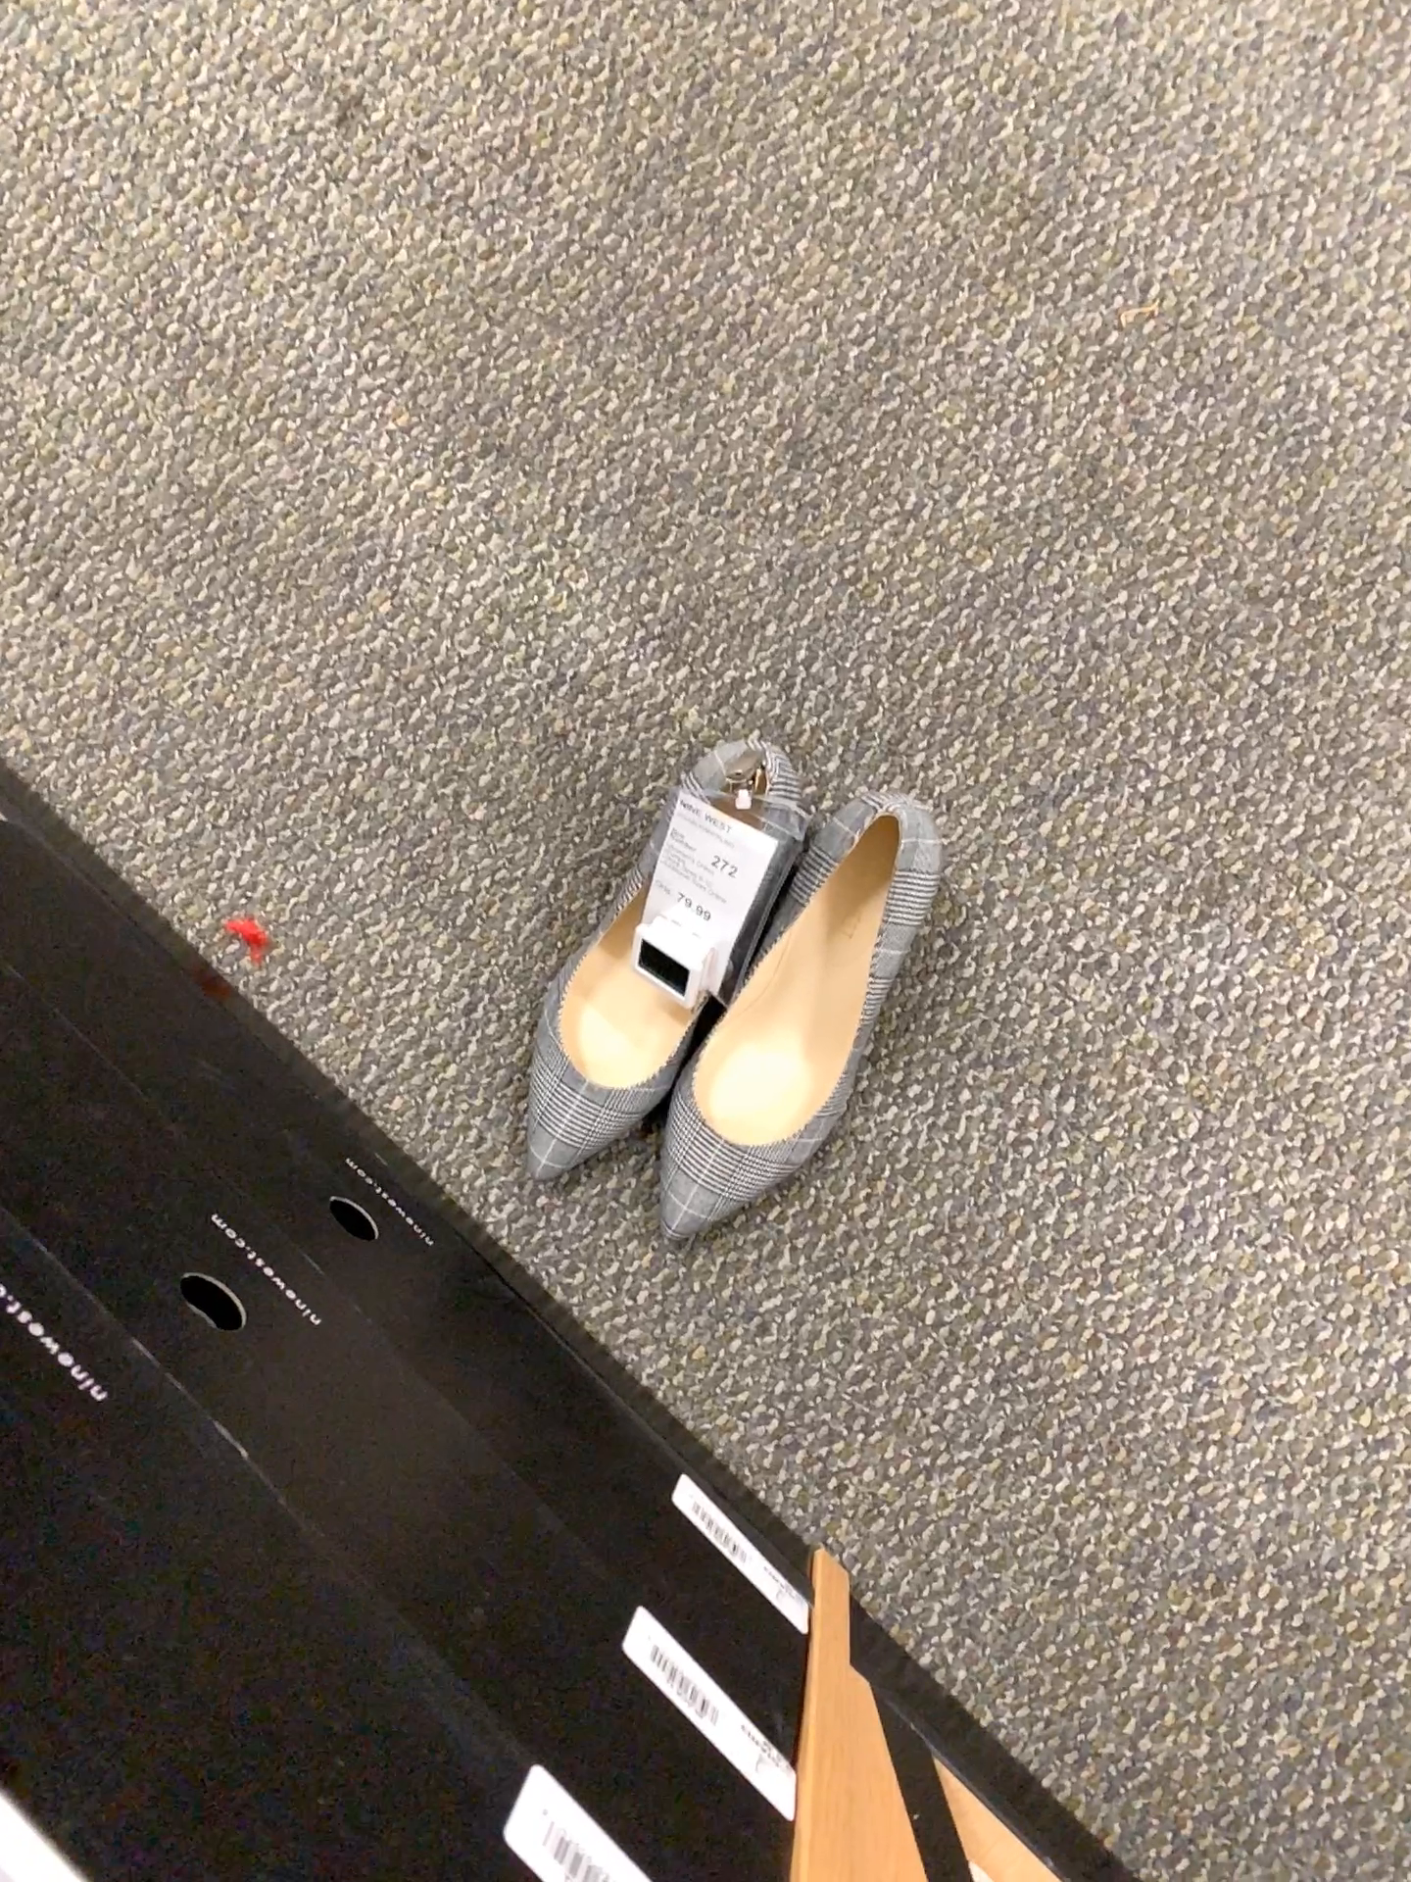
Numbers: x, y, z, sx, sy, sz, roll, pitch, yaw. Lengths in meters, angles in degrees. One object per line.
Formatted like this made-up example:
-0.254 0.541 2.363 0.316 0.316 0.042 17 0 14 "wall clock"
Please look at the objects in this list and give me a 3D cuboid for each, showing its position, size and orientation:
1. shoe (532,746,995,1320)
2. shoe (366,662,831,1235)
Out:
0.031 0.041 0.685 0.090 0.150 0.230 31 91 6 "shoe"
-0.040 0.006 0.685 0.090 0.150 0.230 31 91 6 "shoe"
